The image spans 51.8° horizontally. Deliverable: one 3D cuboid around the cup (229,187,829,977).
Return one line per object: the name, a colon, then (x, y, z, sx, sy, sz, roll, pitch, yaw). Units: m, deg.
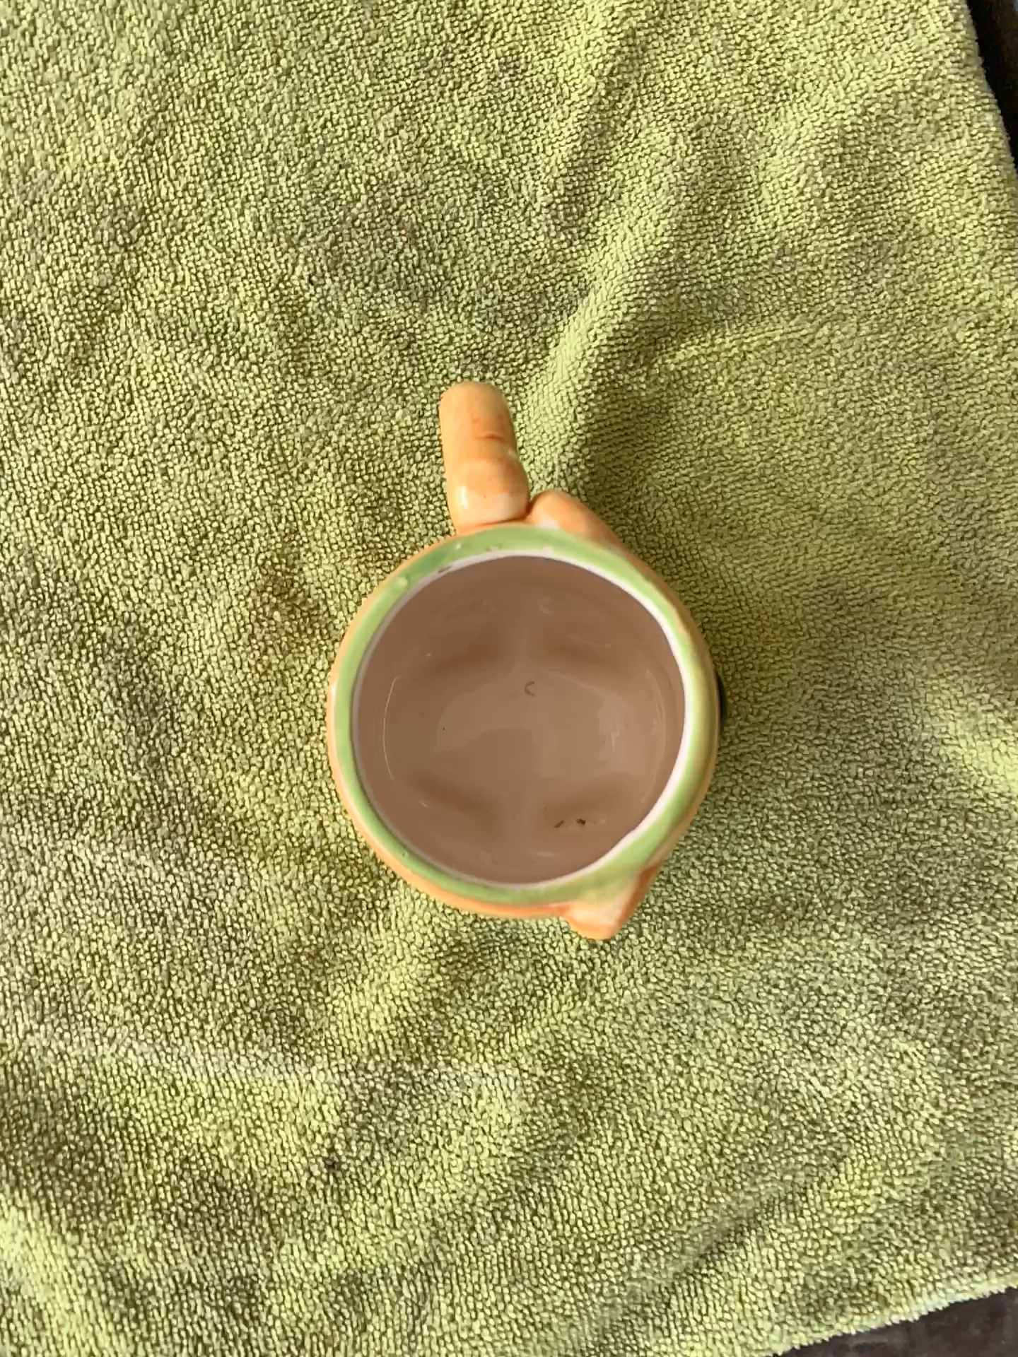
cup: (0.002, -0.016, 0.241, 0.080, 0.100, 0.130, -14, 86, -1)
